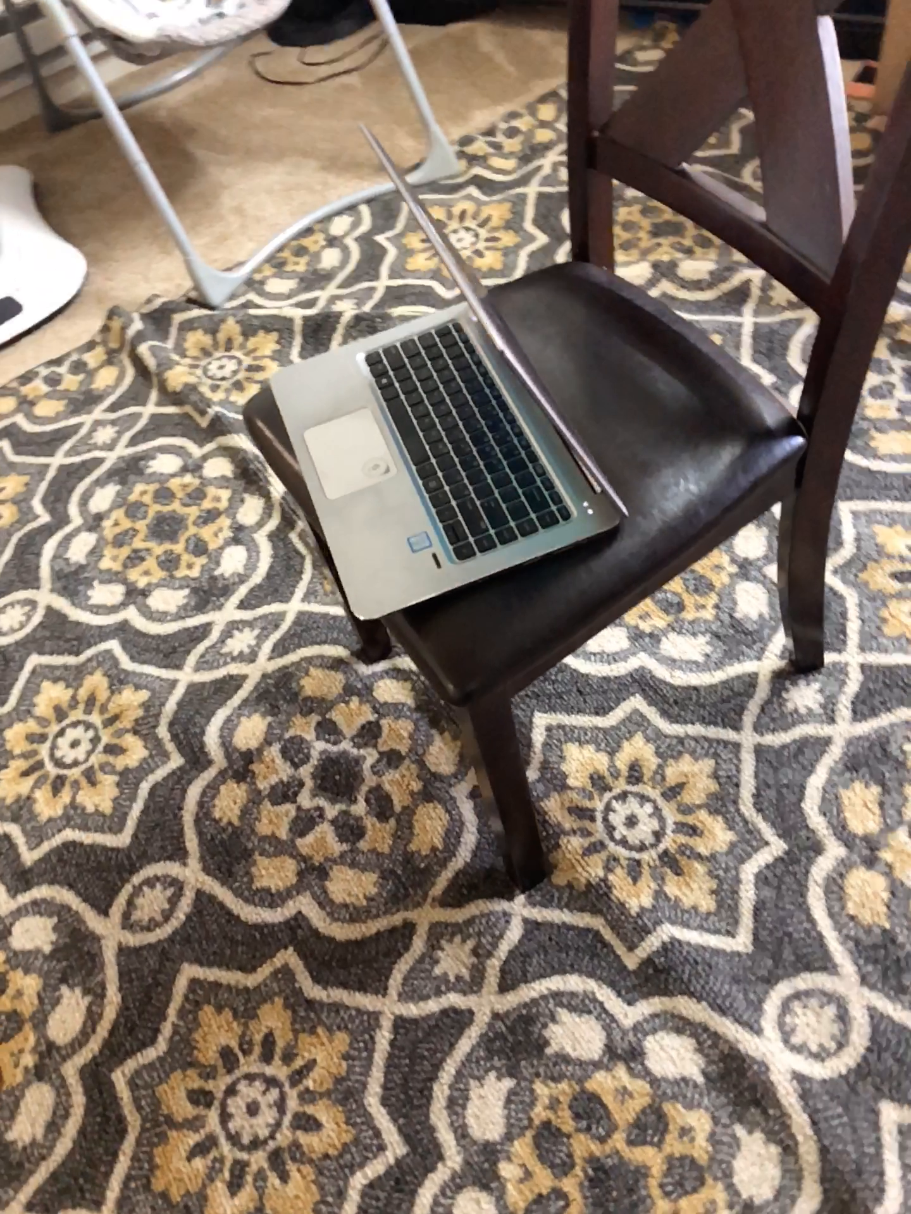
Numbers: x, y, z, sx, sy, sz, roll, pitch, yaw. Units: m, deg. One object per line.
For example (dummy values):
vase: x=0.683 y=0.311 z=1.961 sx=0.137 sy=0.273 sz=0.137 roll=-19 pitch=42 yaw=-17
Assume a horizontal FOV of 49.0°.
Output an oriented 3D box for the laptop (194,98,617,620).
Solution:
laptop: x=-0.042 y=-0.202 z=0.788 sx=0.211 sy=0.193 sz=0.324 roll=-21 pitch=54 yaw=-3
